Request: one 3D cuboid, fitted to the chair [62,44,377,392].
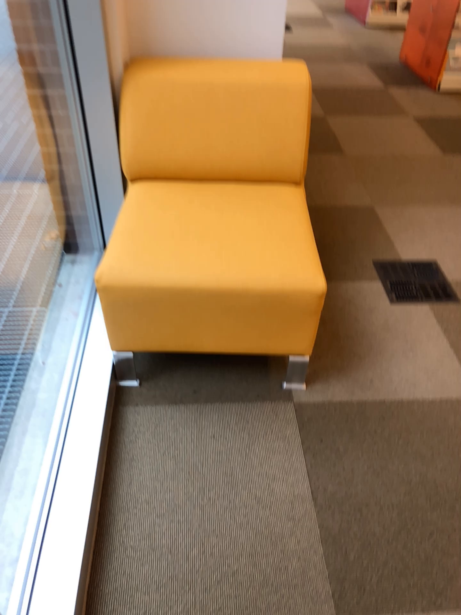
[{"bbox_3d":[-0.040,-0.314,1.642,0.662,0.759,0.874,0,41,-2],"label":"chair"}]
